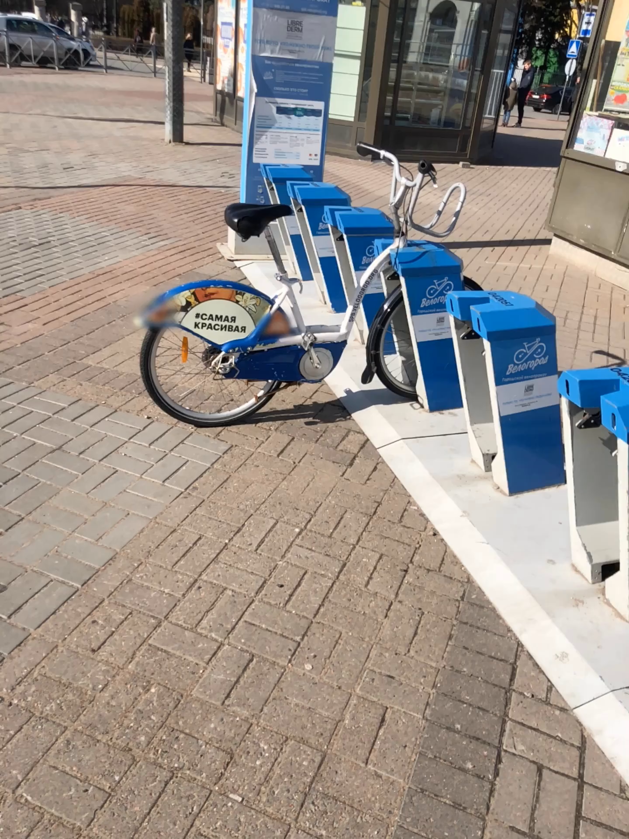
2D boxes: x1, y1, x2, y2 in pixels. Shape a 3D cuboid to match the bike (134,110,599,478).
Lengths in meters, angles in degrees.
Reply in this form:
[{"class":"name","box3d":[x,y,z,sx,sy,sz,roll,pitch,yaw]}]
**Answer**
[{"class":"bike","box3d":[0.121,-0.577,2.859,1.627,1.204,0.598,-8,30,-17]}]
